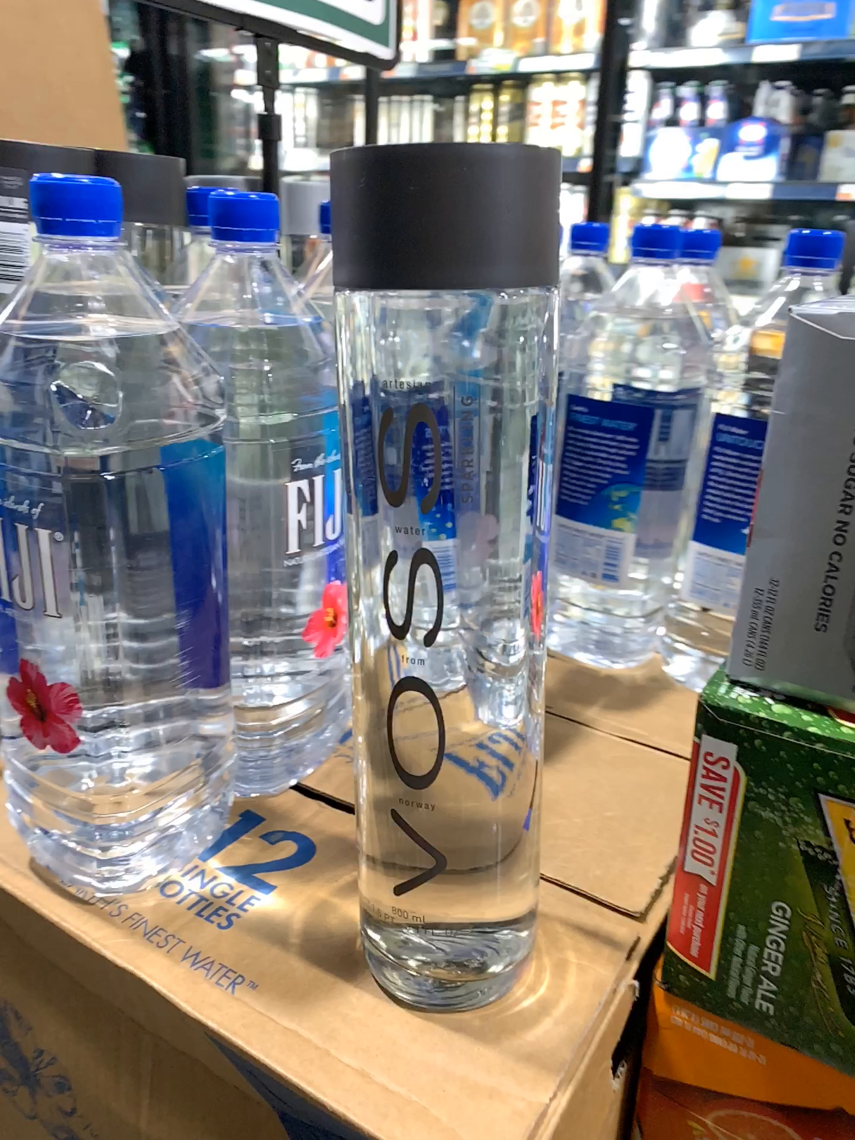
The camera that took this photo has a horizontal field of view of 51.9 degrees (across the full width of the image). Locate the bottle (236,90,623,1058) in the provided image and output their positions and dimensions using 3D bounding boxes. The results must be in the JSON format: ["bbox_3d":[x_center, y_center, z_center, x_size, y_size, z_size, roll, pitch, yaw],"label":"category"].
[{"bbox_3d":[0.002,0.009,0.296,0.080,0.289,0.080,1,20,0],"label":"bottle"}]
